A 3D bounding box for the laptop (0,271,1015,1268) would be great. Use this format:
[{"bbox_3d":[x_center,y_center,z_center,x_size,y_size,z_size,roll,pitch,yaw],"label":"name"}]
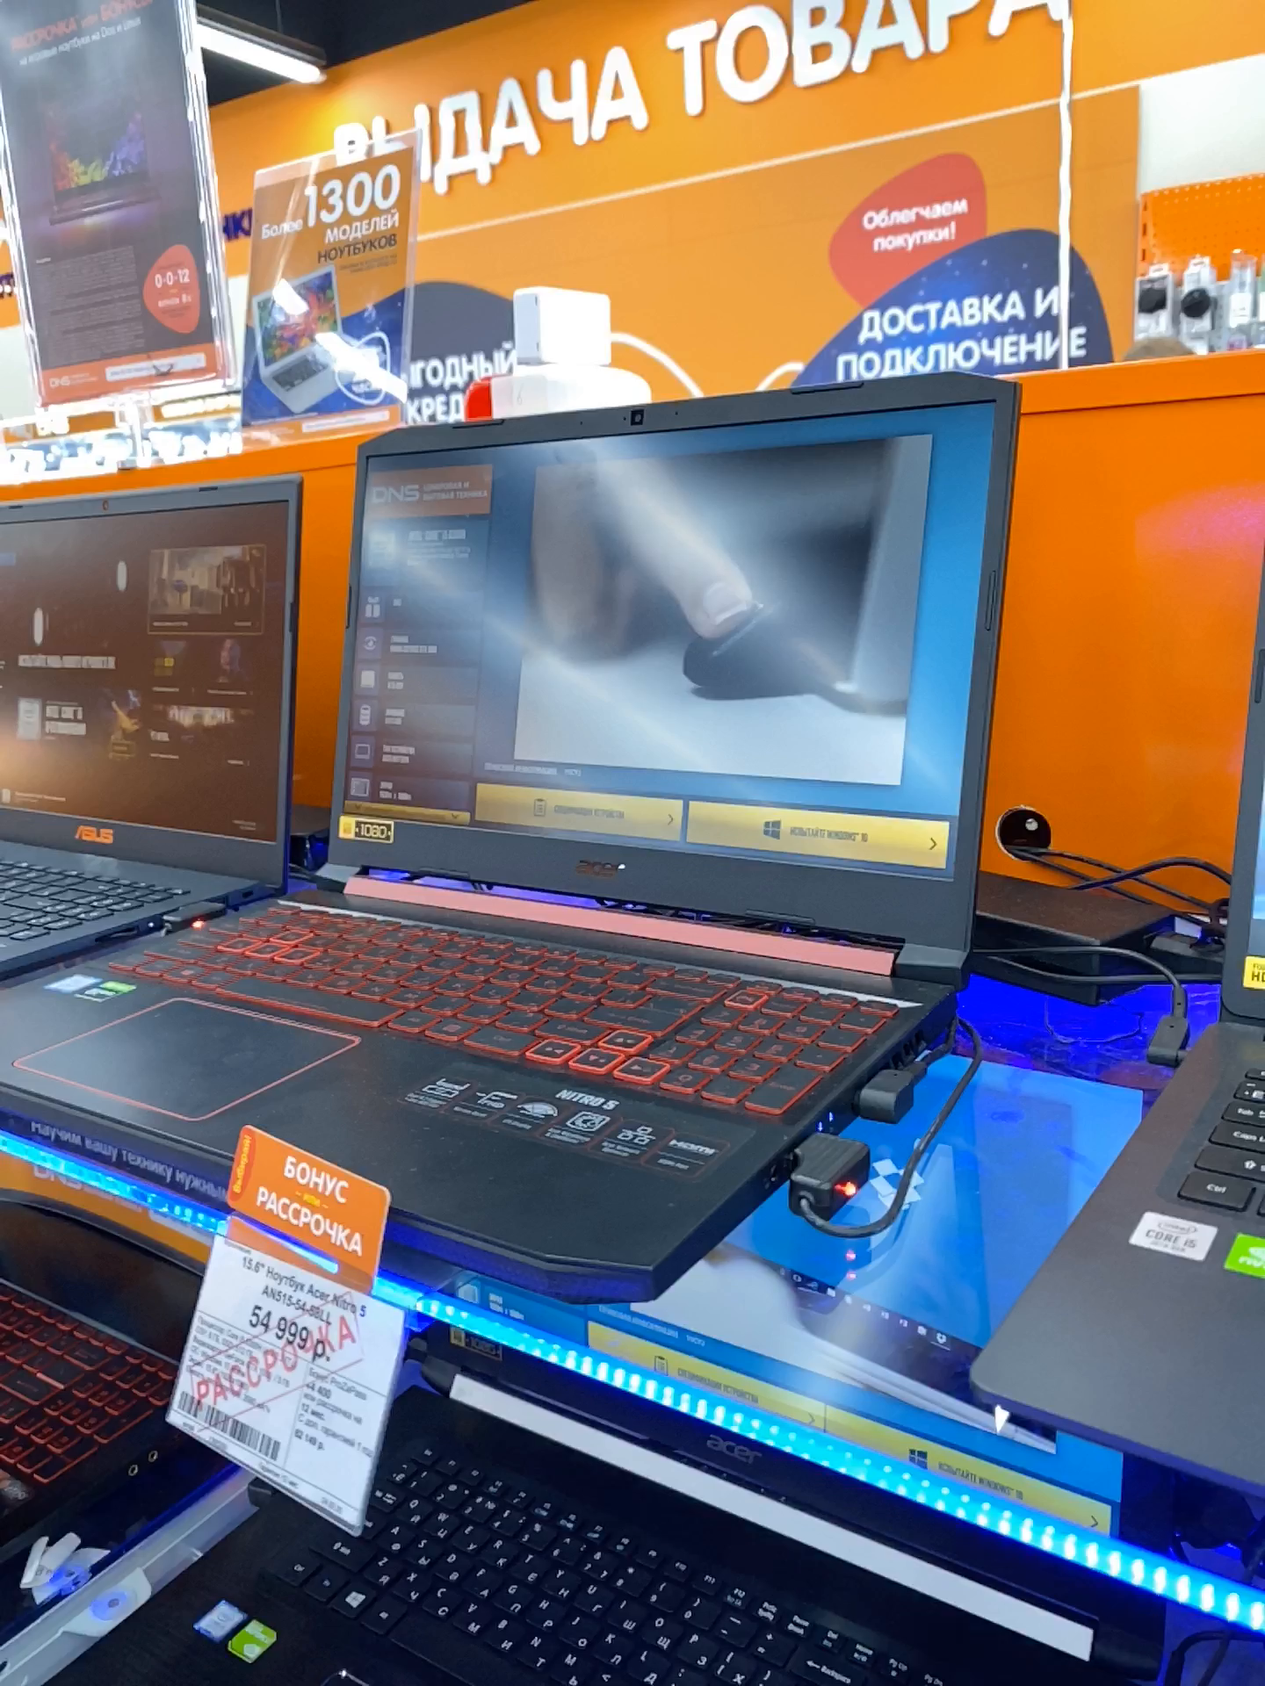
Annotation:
[{"bbox_3d":[-0.074,-0.055,0.521,0.361,0.237,0.303,6,15,31],"label":"laptop"}]
